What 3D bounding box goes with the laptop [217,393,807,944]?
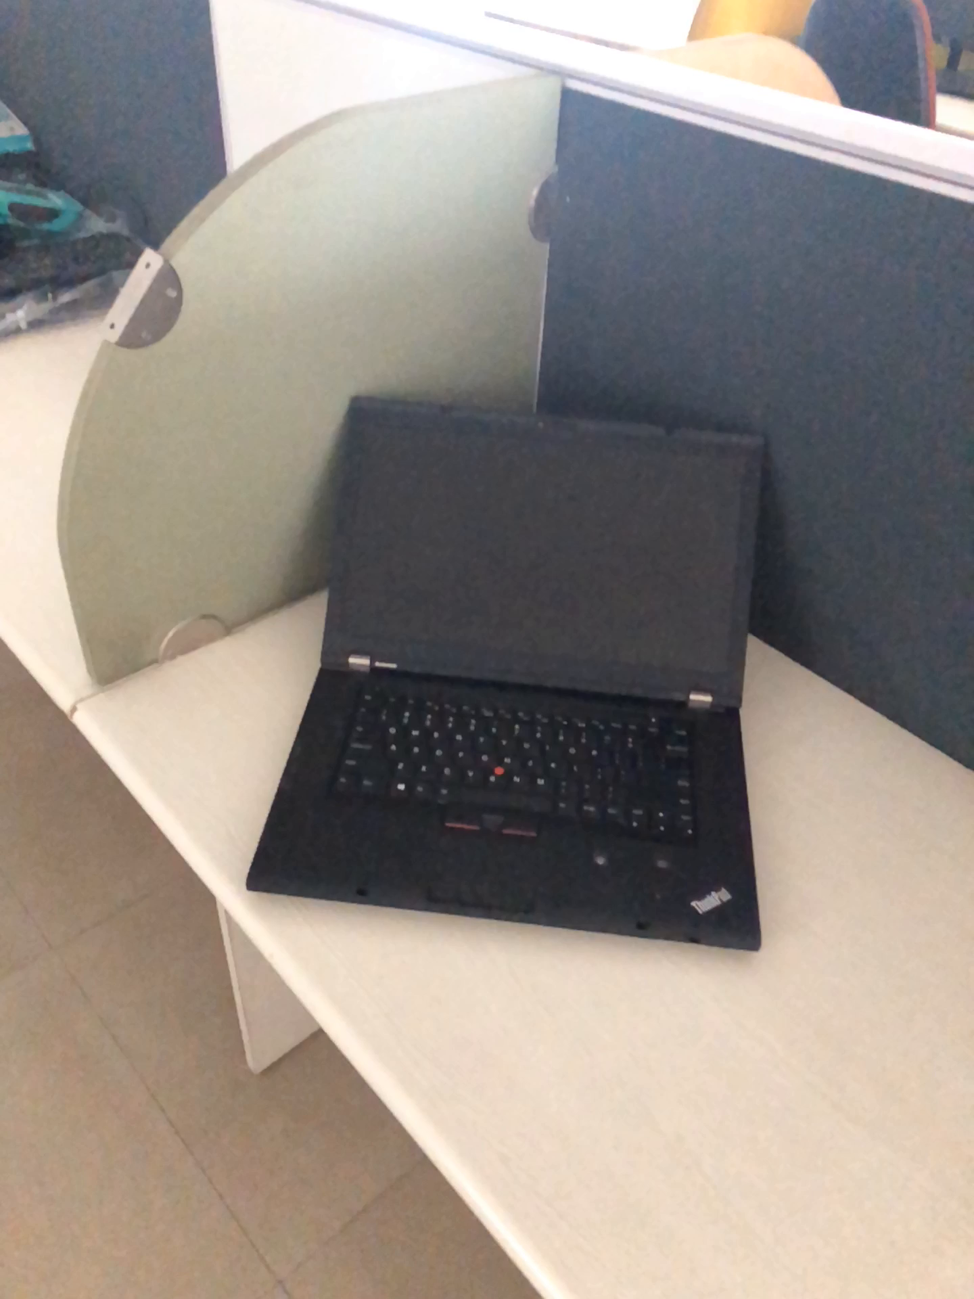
[{"bbox_3d":[0.033,-0.013,0.842,0.355,0.167,0.407,6,41,4],"label":"laptop"}]
